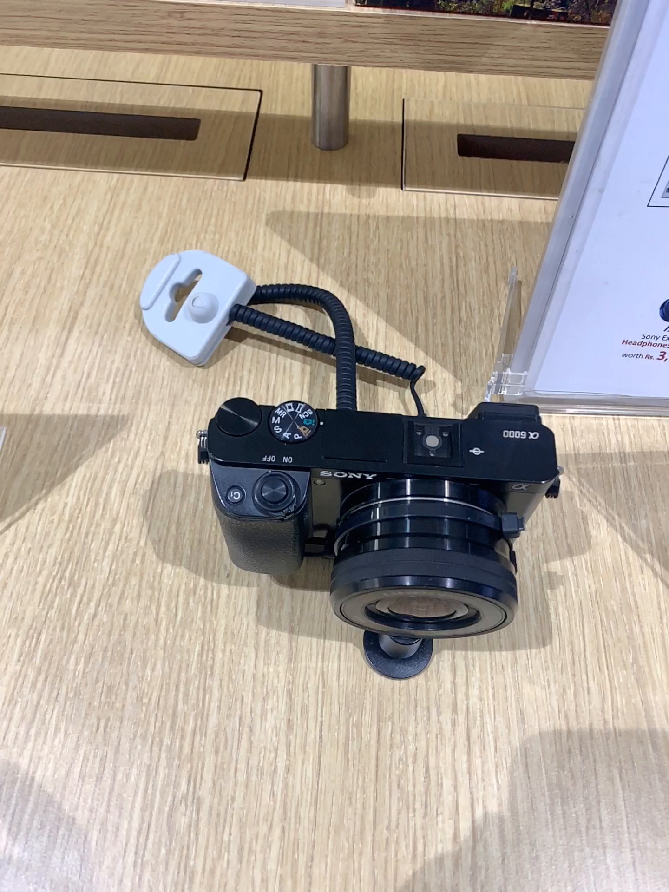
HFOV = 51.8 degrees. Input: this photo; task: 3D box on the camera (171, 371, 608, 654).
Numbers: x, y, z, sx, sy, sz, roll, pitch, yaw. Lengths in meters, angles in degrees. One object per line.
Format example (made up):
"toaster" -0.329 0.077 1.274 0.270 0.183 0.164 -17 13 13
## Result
"camera" 0.017 0.029 0.261 0.130 0.090 0.070 2 59 0
